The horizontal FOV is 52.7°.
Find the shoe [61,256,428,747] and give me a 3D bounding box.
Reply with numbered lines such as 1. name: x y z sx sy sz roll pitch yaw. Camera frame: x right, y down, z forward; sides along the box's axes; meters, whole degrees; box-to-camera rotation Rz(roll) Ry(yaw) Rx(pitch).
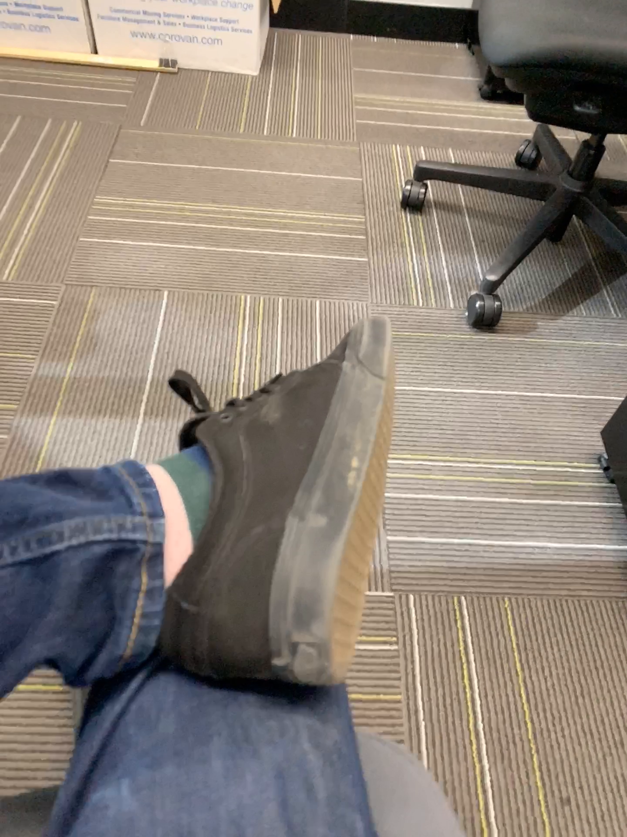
1. shoe: -0.014 0.033 0.391 0.134 0.120 0.261 7 51 10
